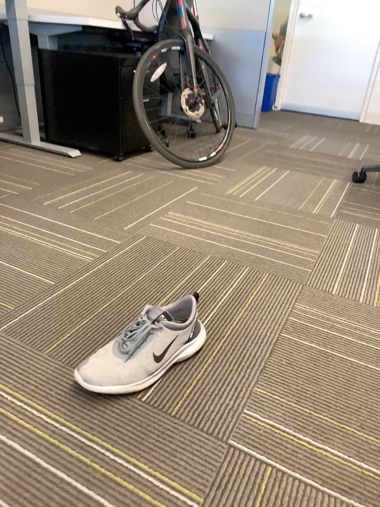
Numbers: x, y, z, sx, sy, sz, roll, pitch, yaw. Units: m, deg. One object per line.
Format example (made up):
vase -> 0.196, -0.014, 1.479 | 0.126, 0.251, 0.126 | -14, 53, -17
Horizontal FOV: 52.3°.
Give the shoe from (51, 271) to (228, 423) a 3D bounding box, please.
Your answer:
shoe -> -0.093, 0.170, 0.809 | 0.161, 0.110, 0.330 | 28, 36, 36
